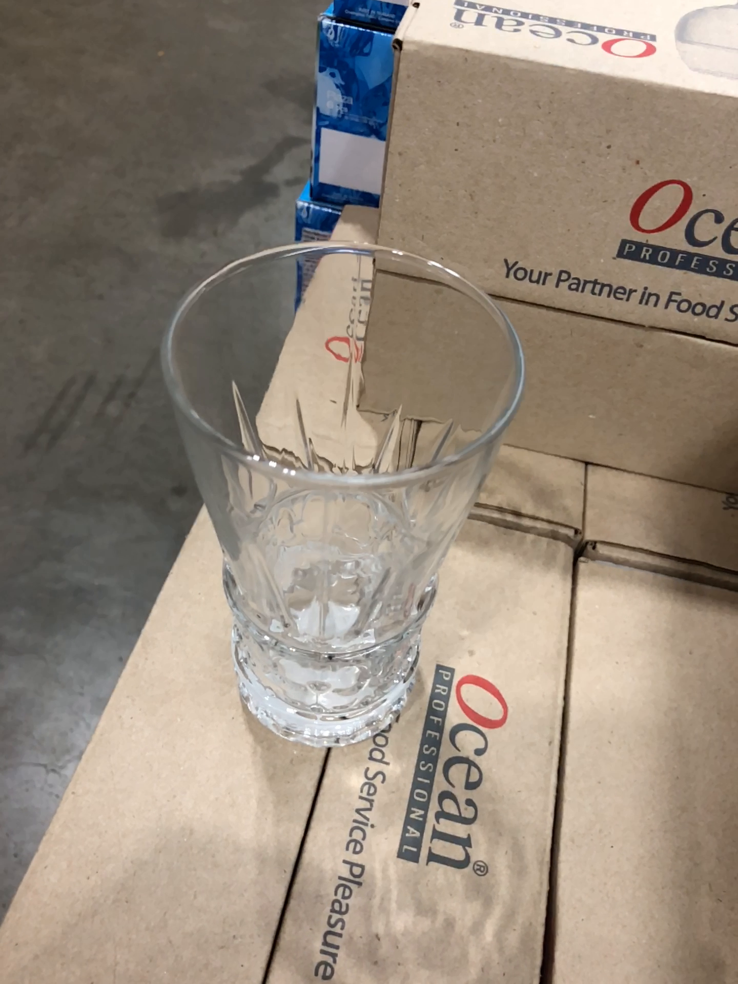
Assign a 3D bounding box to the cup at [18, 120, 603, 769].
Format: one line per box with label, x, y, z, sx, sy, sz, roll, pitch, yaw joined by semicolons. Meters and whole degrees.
cup;-0.023;-0.012;0.232;0.100;0.129;0.100;4;49;-4
